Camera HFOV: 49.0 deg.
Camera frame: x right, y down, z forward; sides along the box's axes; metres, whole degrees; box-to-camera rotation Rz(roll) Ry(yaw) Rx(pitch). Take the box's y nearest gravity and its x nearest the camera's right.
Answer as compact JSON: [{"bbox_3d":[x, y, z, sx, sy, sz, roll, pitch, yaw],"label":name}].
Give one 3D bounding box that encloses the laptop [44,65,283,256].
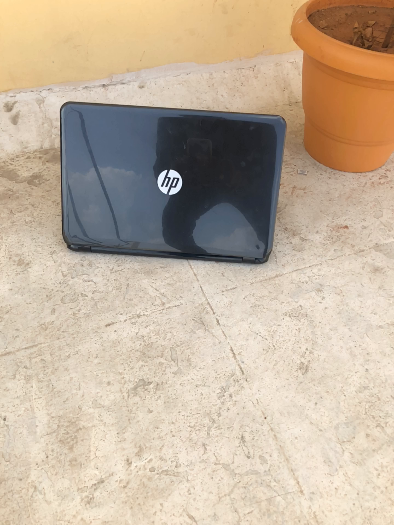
[{"bbox_3d":[-0.041,-0.177,0.755,0.344,0.189,0.223,4,52,1],"label":"laptop"}]
